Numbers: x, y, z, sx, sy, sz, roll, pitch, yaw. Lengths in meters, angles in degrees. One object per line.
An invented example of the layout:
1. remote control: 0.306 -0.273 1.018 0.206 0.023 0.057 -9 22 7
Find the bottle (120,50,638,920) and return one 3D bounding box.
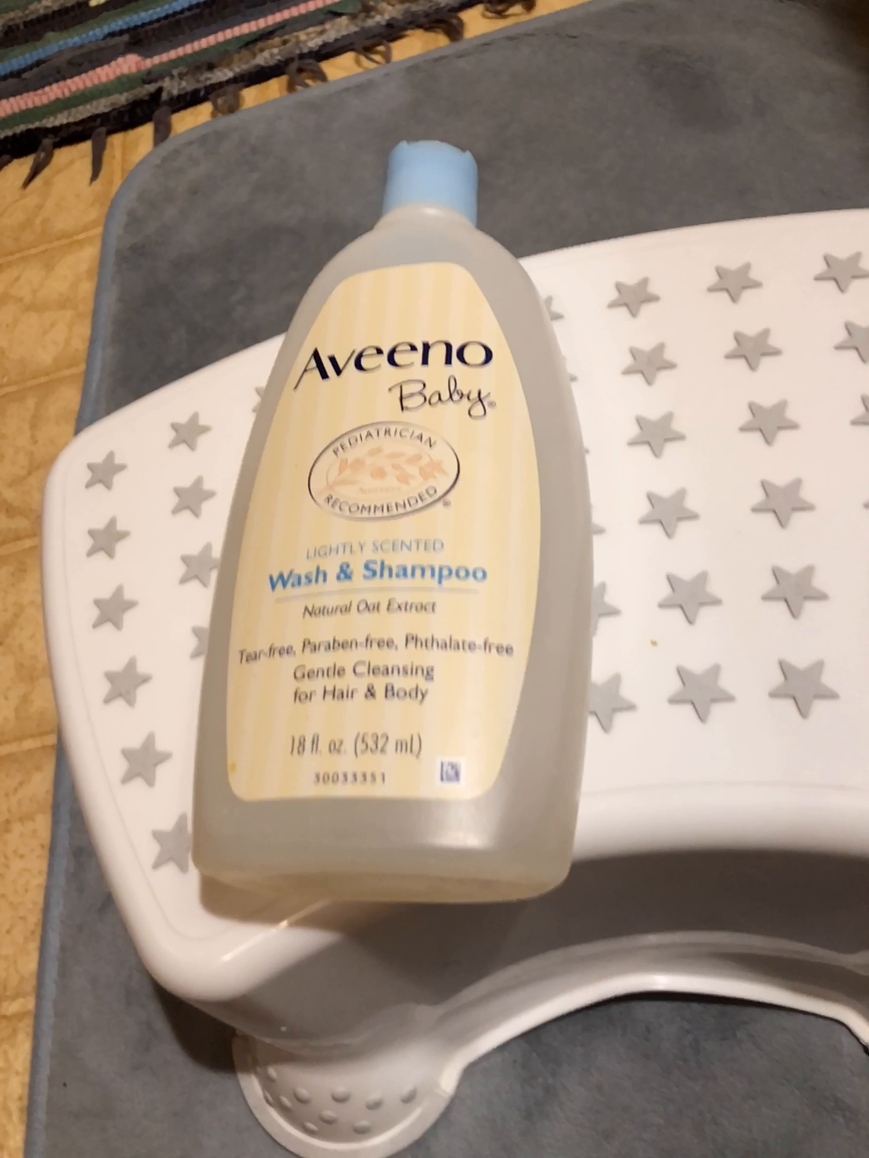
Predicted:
1. bottle: -0.002 -0.040 0.257 0.100 0.040 0.240 -3 60 14
